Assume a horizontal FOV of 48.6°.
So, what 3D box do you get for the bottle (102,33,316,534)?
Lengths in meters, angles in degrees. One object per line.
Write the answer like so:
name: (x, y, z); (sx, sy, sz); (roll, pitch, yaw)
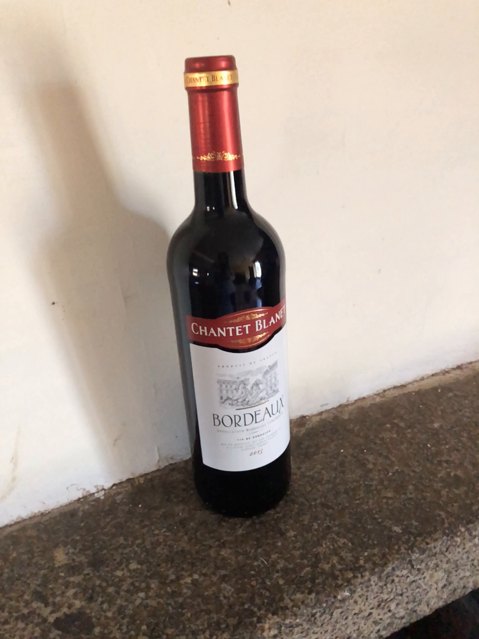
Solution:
bottle: (-0.011, -0.012, 0.335); (0.080, 0.288, 0.080); (-4, 26, 2)
